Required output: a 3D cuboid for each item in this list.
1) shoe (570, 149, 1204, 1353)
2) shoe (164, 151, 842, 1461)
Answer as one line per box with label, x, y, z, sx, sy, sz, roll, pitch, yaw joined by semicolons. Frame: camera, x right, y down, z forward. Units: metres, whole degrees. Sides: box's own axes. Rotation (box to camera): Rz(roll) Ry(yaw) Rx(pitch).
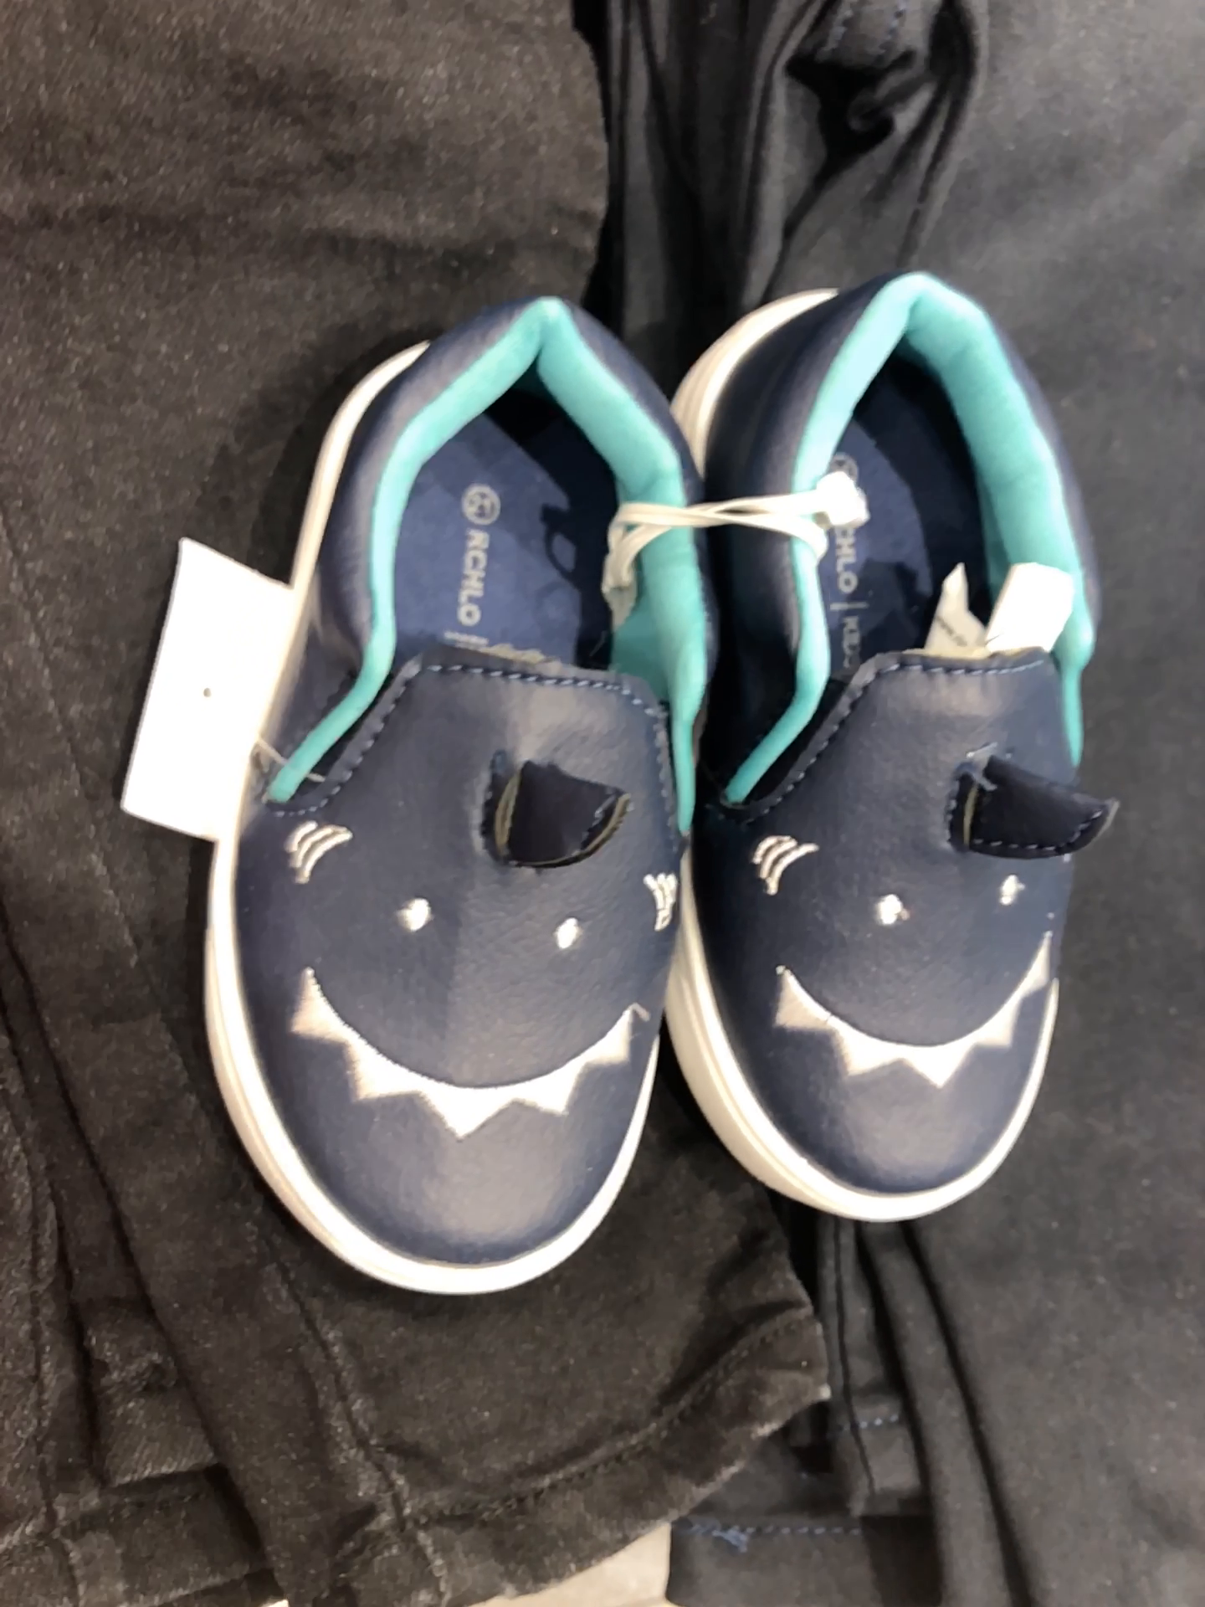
shoe;0.052;-0.010;0.206;0.080;0.050;0.150;-7;87;-23
shoe;-0.015;0.001;0.193;0.080;0.050;0.150;3;83;-22
